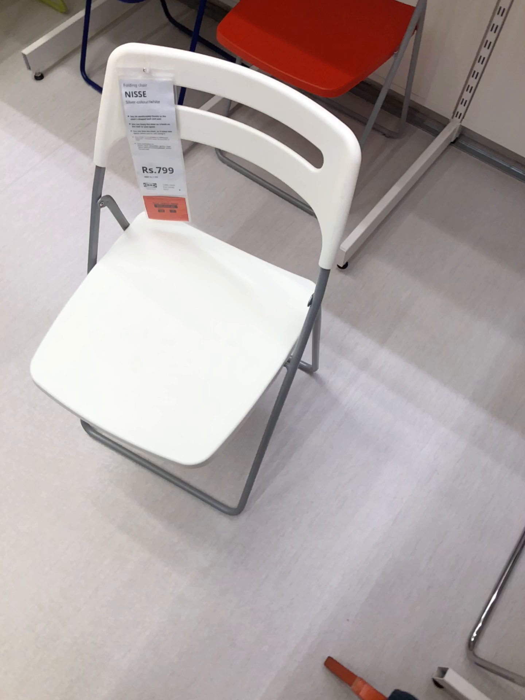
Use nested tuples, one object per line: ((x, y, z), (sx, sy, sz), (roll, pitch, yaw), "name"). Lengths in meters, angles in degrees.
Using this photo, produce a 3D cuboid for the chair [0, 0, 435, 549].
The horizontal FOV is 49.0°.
((-0.123, -0.070, 1.019), (0.500, 0.668, 0.542), (26, 65, 11), "chair")
